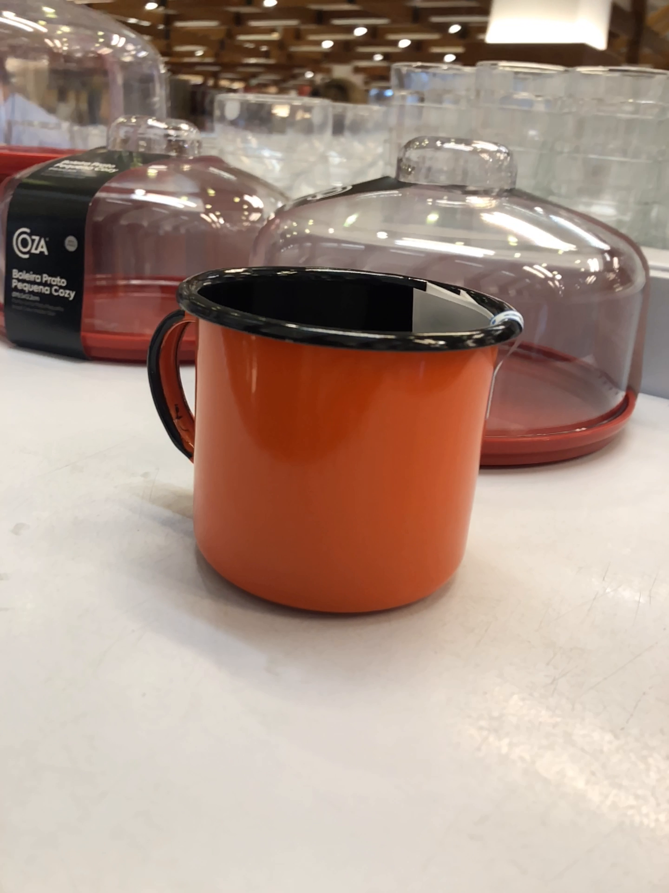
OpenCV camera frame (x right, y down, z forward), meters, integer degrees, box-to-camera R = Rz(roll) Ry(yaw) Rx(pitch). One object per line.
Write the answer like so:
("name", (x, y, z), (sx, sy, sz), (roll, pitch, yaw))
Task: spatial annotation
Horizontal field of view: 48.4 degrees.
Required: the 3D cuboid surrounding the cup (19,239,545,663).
("cup", (-0.014, -0.012, 0.206), (0.110, 0.070, 0.080), (17, 25, 29))
